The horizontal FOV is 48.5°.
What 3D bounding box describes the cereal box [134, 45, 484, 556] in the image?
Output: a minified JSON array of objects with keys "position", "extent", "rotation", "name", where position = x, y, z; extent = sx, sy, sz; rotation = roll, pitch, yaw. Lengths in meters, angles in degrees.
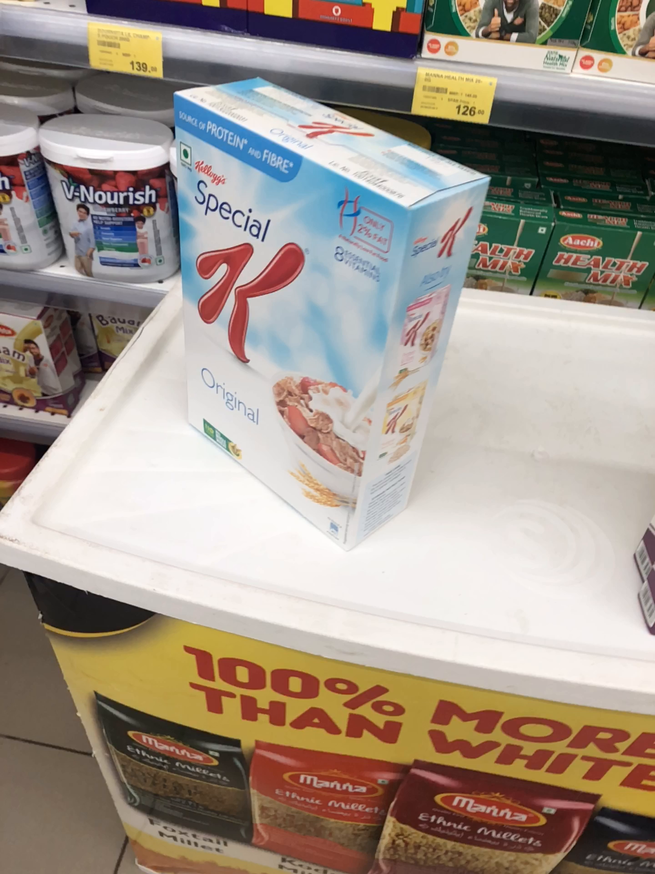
[{"position":[-0.027,-0.080,0.468],"extent":[0.190,0.259,0.070],"rotation":[36,50,28],"name":"cereal box"}]
